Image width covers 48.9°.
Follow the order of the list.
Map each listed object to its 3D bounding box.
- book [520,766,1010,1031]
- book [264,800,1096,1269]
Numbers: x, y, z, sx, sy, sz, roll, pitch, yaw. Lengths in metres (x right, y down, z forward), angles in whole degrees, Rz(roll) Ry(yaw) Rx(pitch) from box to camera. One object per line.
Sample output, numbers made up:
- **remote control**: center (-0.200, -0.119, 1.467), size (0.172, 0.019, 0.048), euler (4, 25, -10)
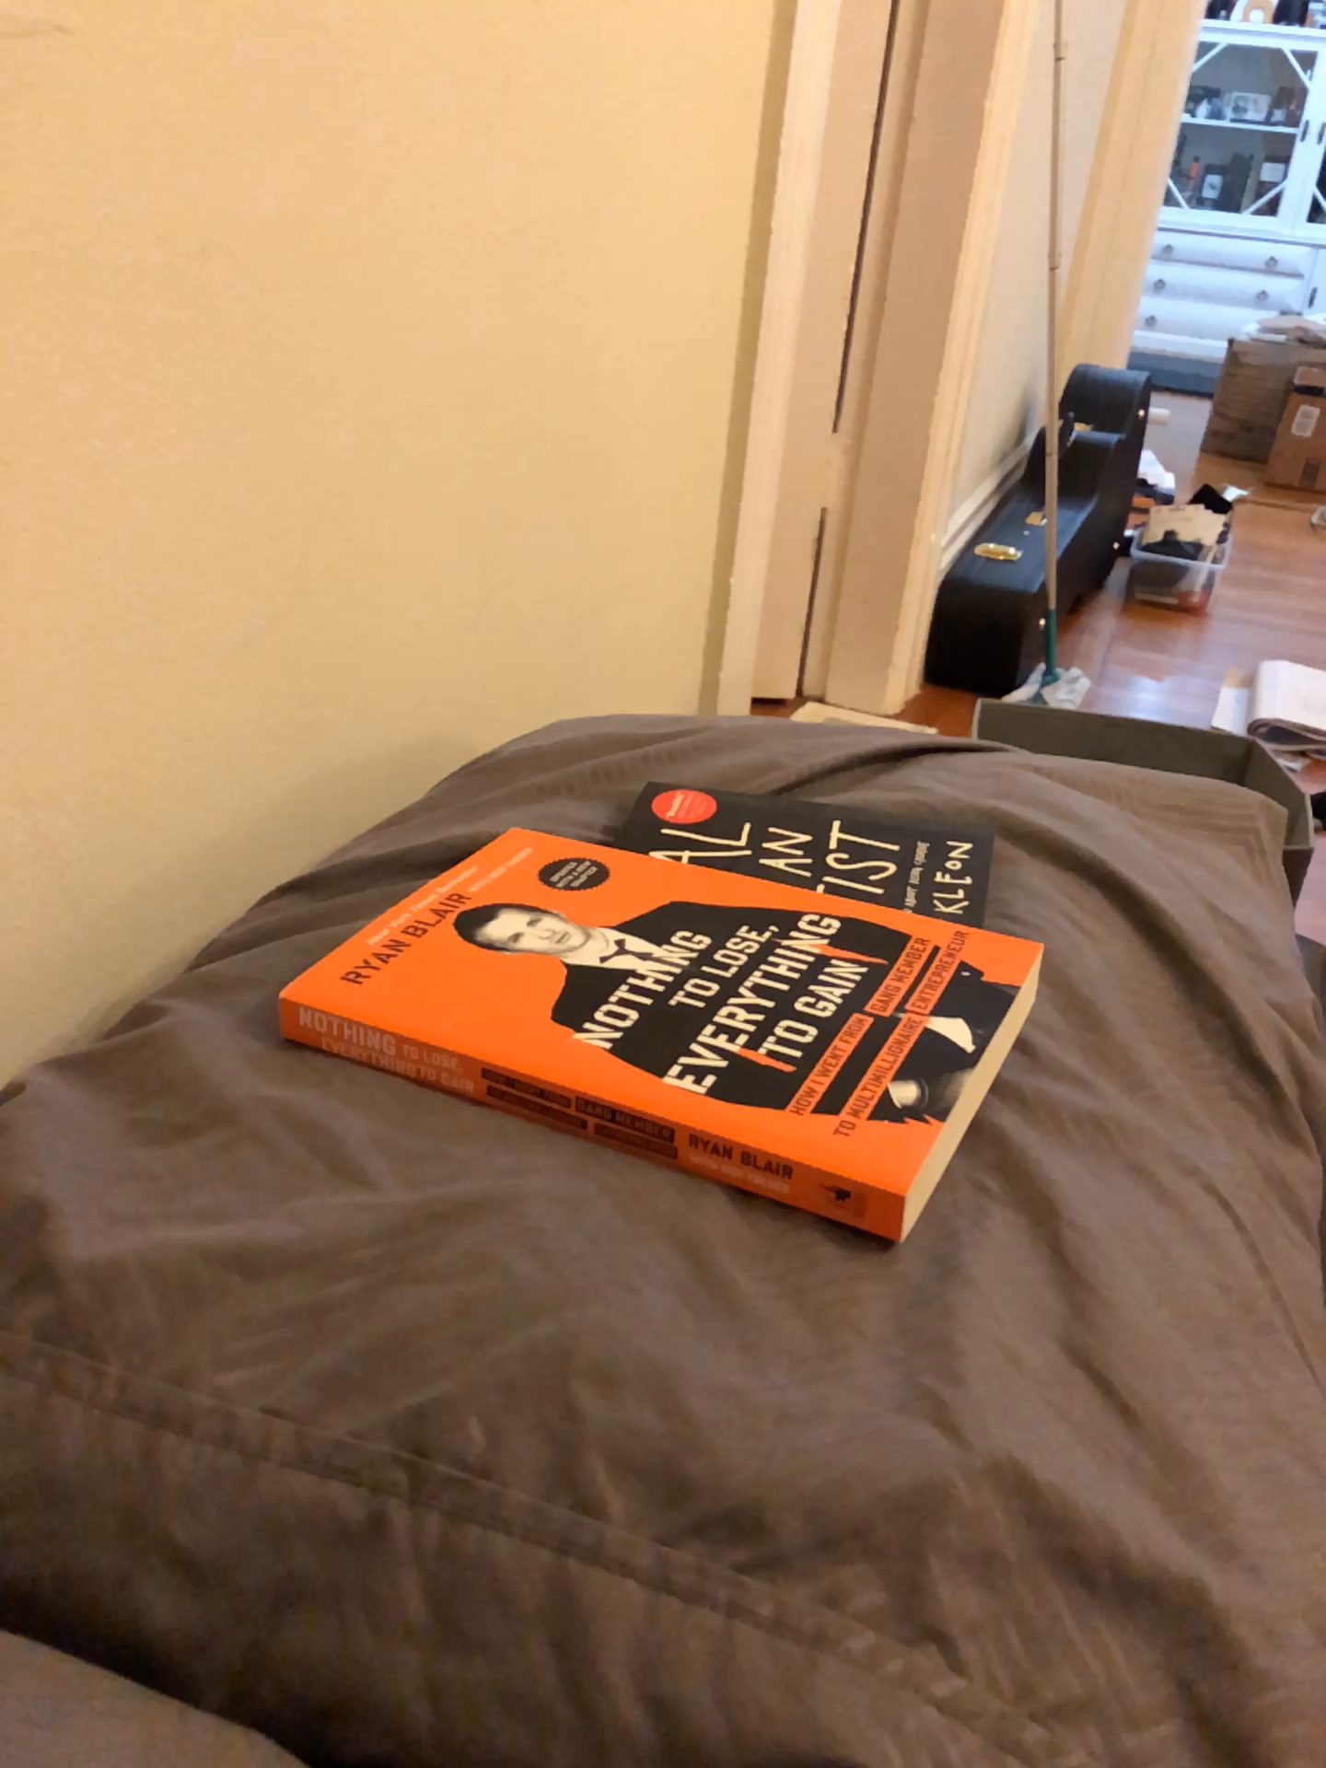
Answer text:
- **book**: center (0.048, -0.001, 0.572), size (0.170, 0.020, 0.151), euler (7, 27, 11)
- **book**: center (0.013, 0.034, 0.495), size (0.230, 0.020, 0.171), euler (15, 28, 21)
